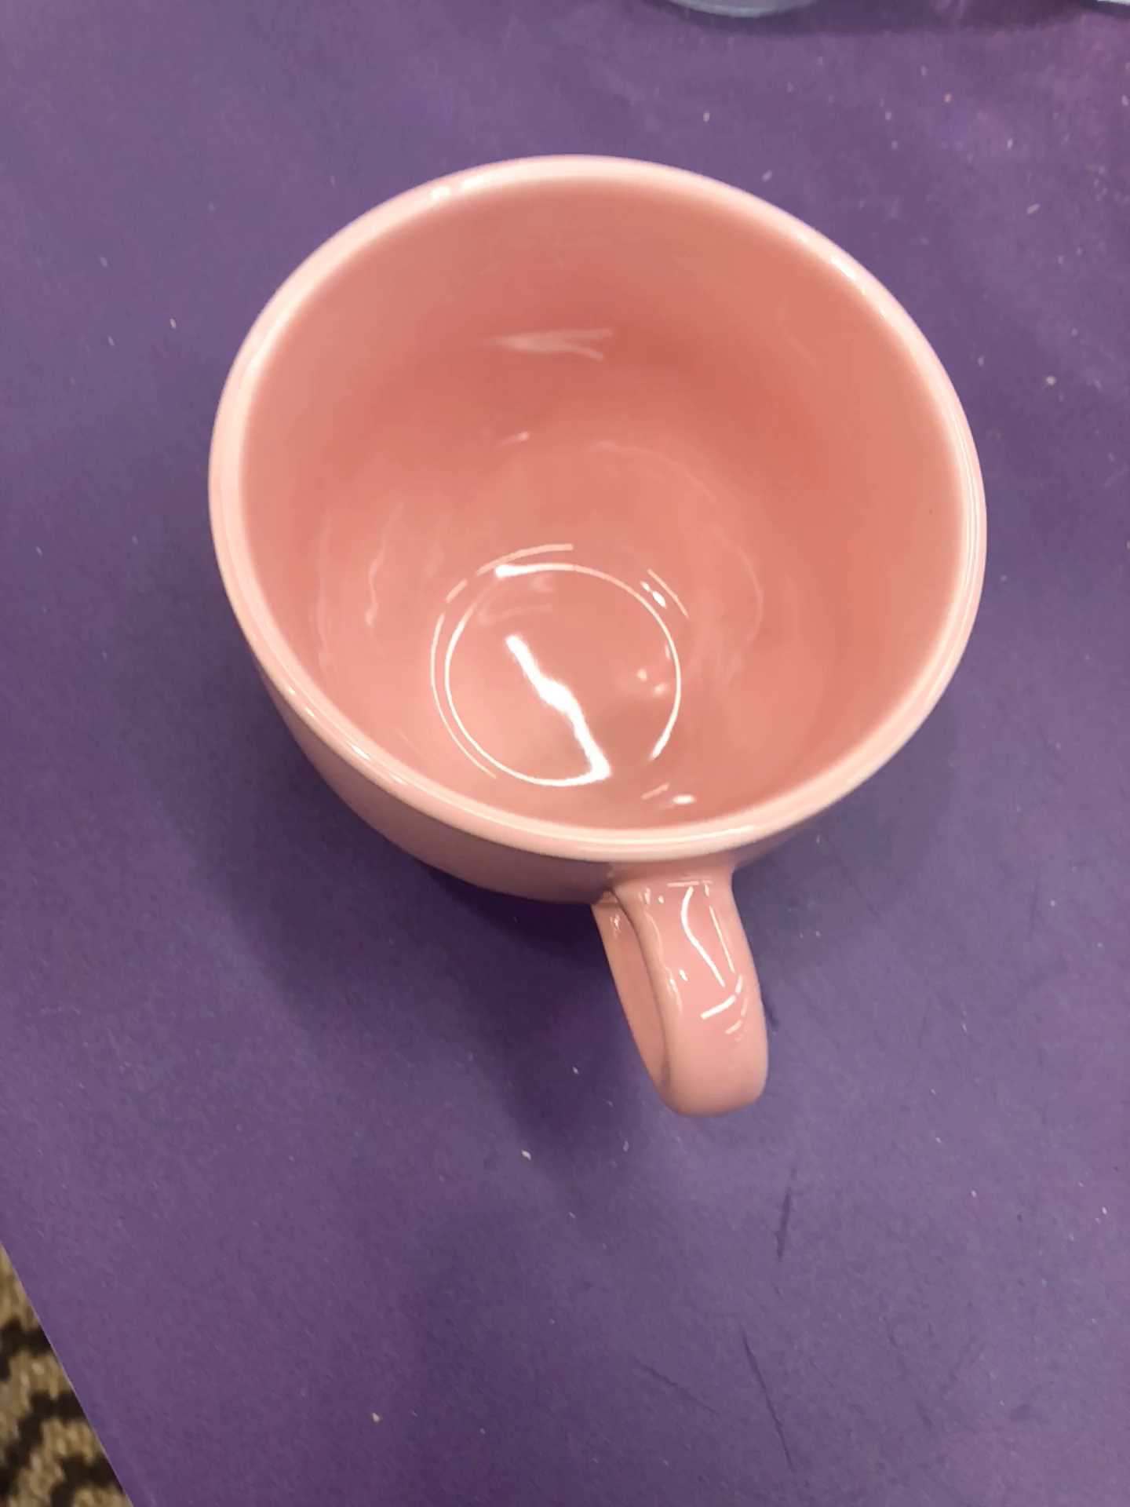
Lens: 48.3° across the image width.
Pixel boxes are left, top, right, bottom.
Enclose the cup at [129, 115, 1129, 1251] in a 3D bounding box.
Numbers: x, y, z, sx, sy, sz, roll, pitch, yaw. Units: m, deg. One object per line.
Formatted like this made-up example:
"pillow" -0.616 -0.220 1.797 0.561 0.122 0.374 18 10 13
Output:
"cup" 0.006 -0.013 0.194 0.110 0.060 0.140 -12 73 -9
